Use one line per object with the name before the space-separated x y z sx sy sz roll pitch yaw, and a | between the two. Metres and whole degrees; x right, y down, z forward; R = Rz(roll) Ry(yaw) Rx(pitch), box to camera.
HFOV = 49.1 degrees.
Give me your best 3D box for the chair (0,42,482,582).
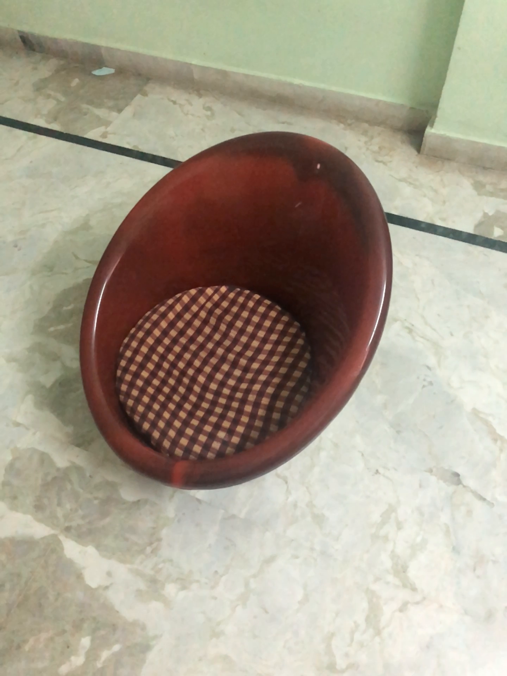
chair | -0.083 -0.067 1.071 0.671 0.547 0.632 28 62 21
